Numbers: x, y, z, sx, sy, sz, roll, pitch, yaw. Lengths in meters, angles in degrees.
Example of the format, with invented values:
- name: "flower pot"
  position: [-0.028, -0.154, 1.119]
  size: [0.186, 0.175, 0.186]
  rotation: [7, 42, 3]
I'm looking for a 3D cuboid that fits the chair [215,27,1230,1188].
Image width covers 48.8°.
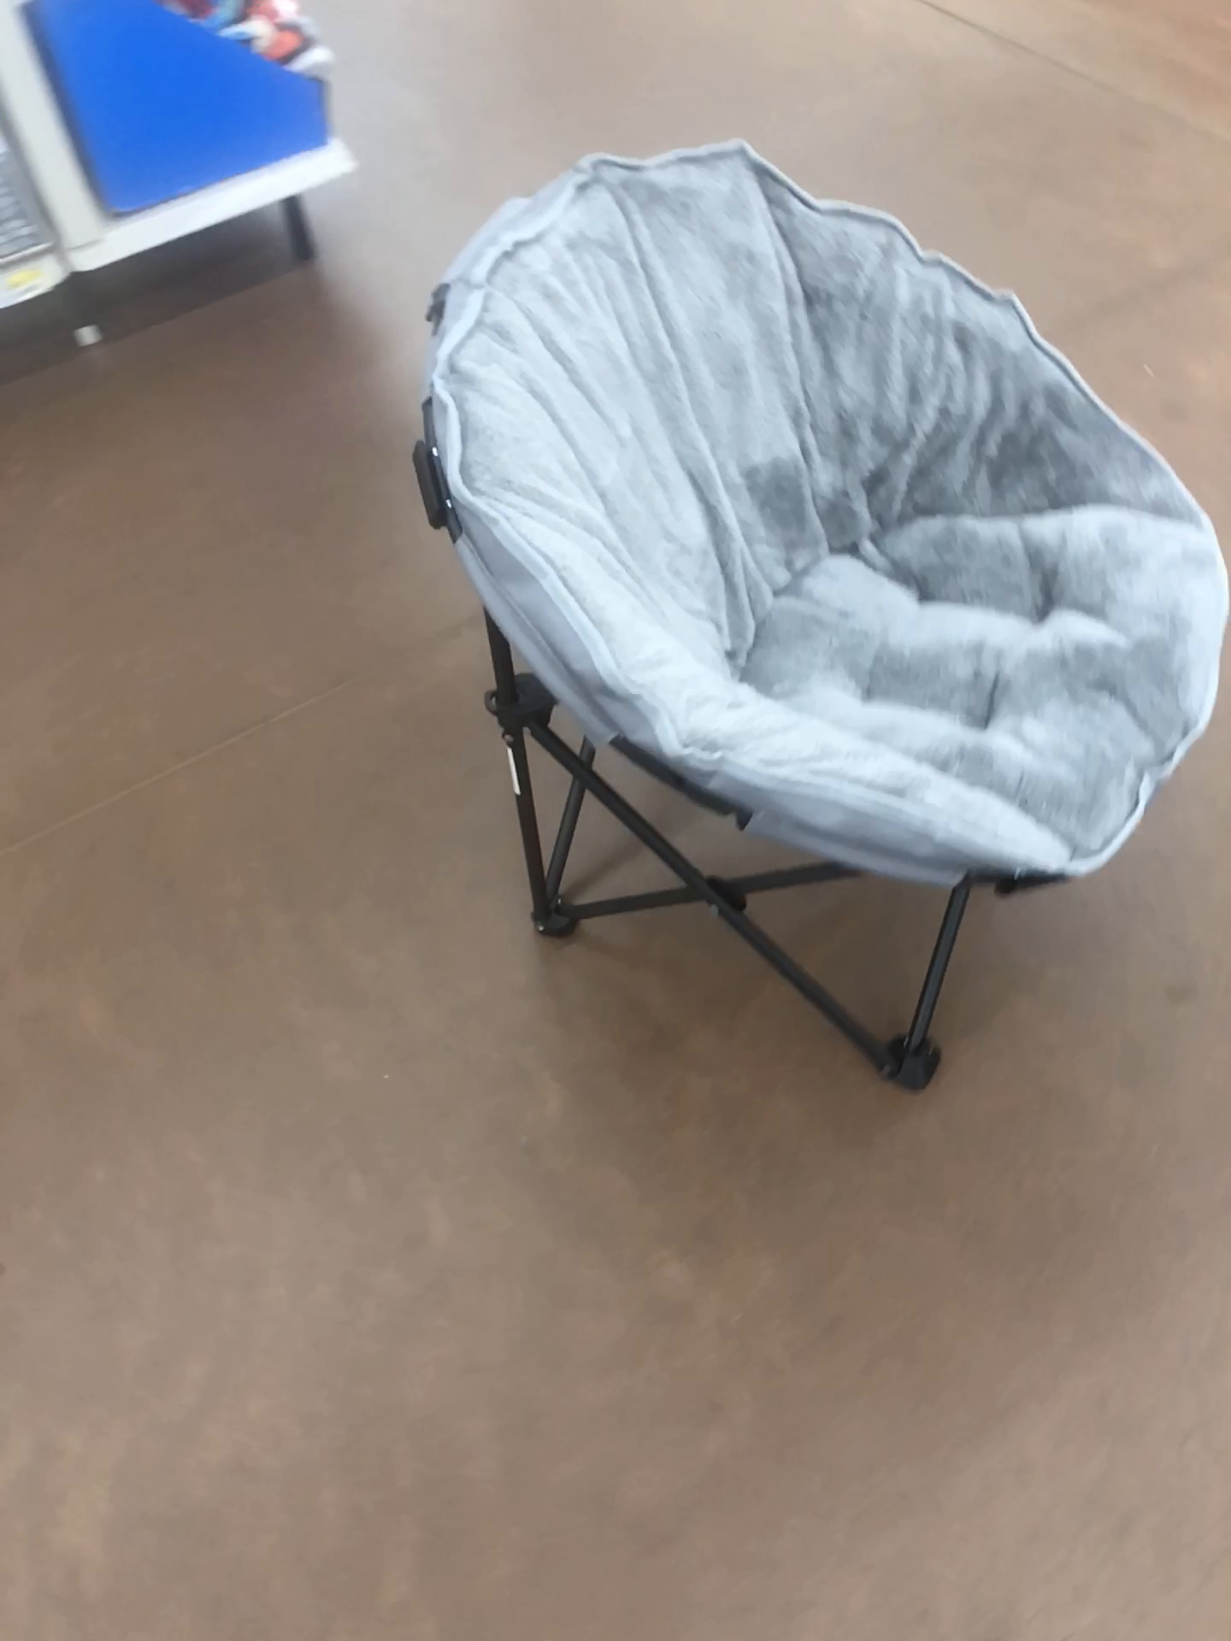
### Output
- name: "chair"
  position: [0.186, -0.186, 1.059]
  size: [0.631, 0.528, 0.571]
  rotation: [17, 55, 17]
